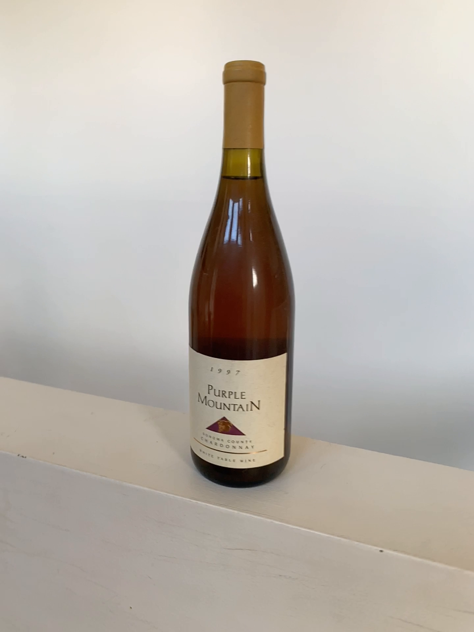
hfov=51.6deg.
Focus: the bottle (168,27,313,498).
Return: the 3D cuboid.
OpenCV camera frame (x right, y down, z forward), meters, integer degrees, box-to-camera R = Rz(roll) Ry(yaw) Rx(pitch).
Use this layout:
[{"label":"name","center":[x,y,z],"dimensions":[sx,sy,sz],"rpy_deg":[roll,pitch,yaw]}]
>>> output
[{"label":"bottle","center":[0.004,-0.030,0.367],"dimensions":[0.080,0.309,0.080],"rpy_deg":[1,15,0]}]
